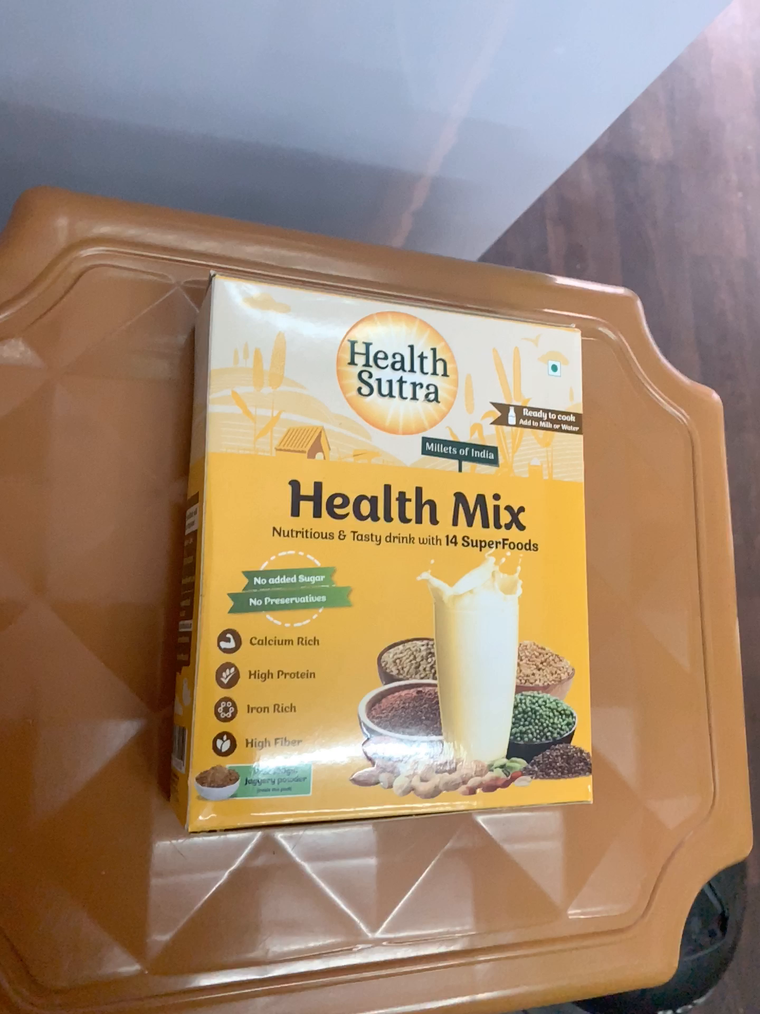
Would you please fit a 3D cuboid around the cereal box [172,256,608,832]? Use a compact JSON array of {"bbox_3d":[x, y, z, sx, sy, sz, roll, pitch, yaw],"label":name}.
[{"bbox_3d":[0.004,0.012,0.258,0.130,0.040,0.160,3,80,-21],"label":"cereal box"}]
